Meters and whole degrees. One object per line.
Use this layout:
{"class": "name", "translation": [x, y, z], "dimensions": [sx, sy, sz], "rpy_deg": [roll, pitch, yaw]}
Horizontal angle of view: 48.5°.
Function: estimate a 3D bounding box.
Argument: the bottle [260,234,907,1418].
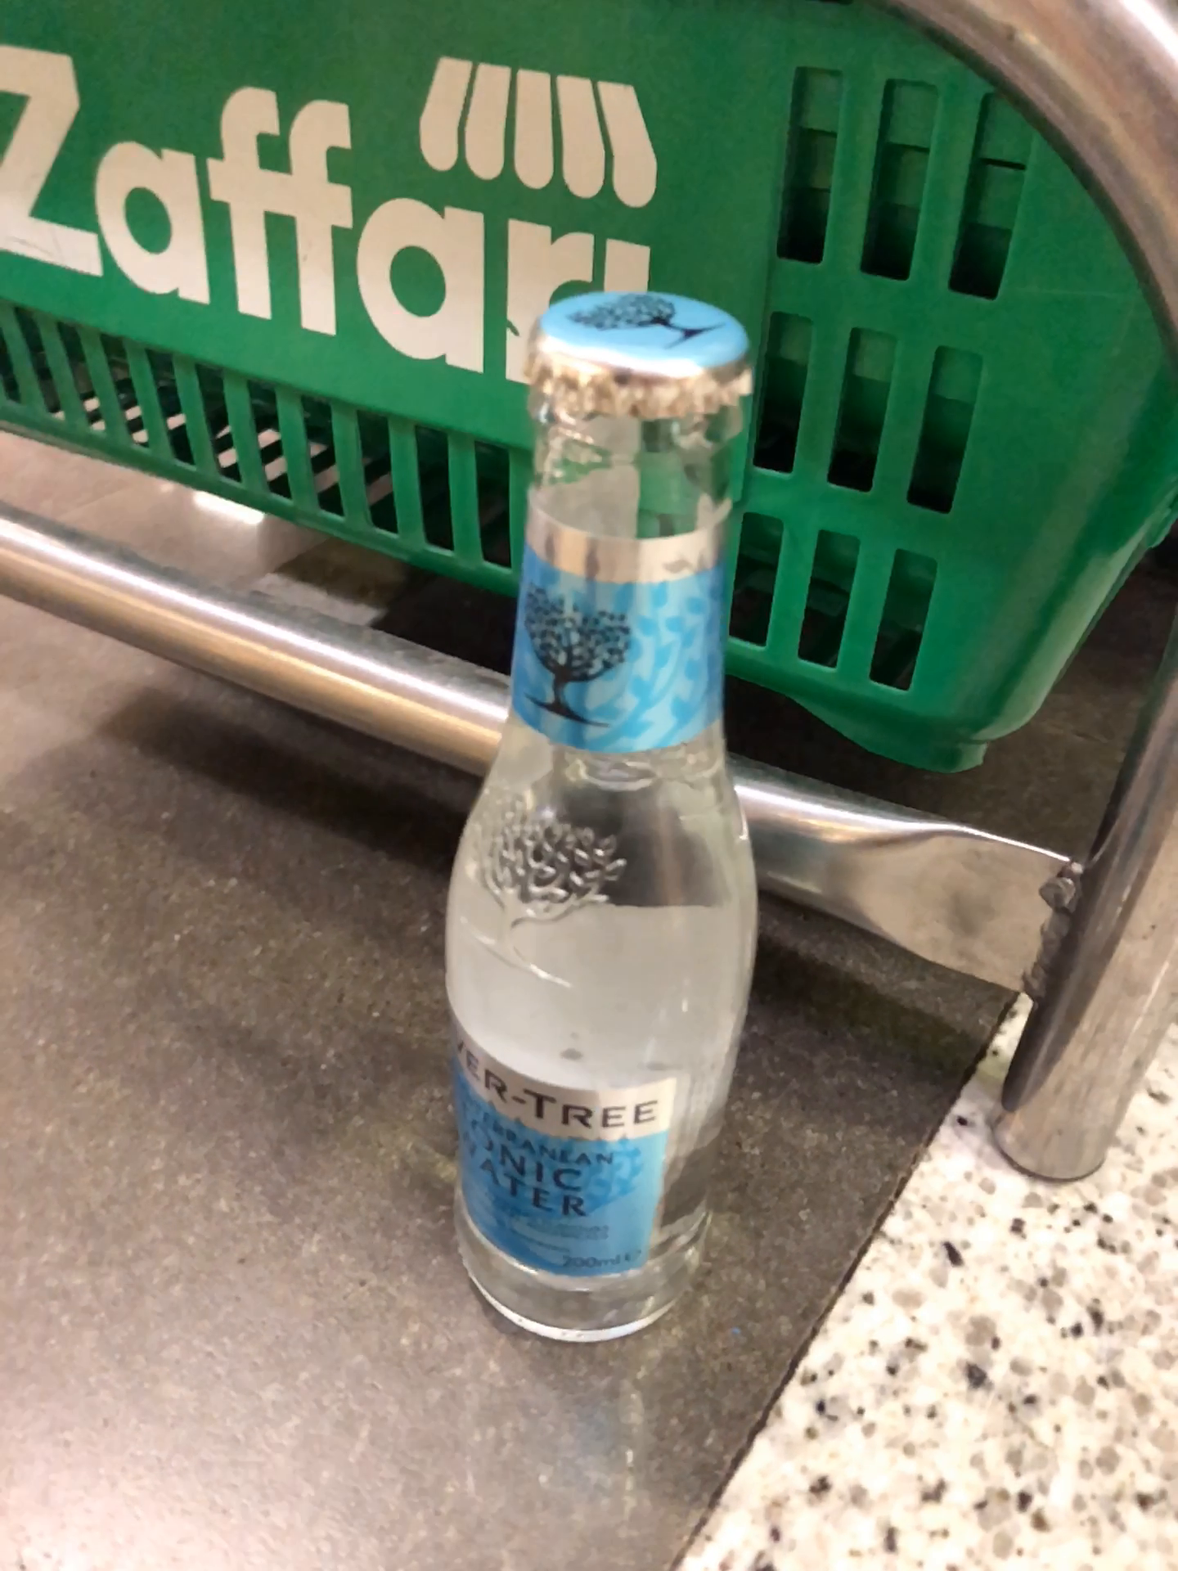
{"class": "bottle", "translation": [-0.002, 0.020, 0.214], "dimensions": [0.060, 0.188, 0.050], "rpy_deg": [21, 42, 23]}
